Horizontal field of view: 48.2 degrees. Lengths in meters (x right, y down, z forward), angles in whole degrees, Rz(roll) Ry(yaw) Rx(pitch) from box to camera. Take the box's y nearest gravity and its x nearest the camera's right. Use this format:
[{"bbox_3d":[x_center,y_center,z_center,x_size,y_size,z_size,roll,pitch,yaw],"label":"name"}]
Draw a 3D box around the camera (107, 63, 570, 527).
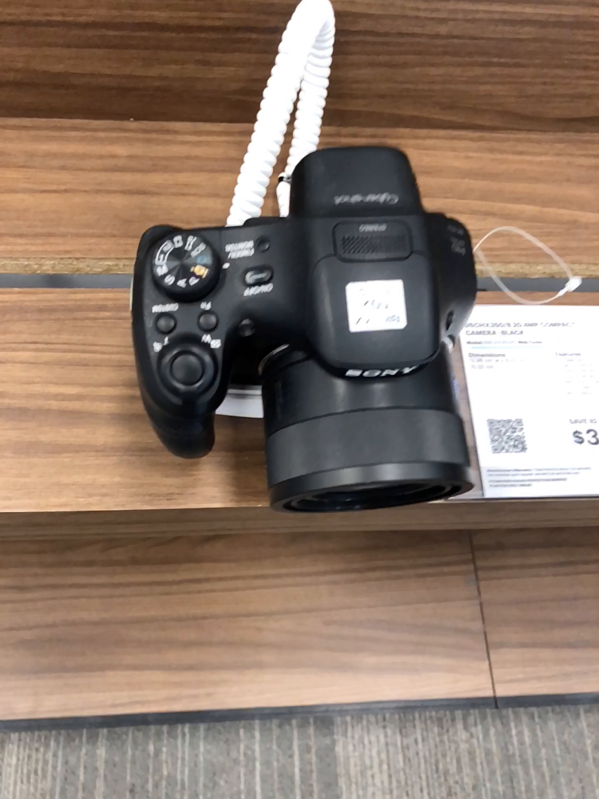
[{"bbox_3d":[0.004,-0.033,0.256,0.130,0.100,0.140,-2,70,-6],"label":"camera"}]
